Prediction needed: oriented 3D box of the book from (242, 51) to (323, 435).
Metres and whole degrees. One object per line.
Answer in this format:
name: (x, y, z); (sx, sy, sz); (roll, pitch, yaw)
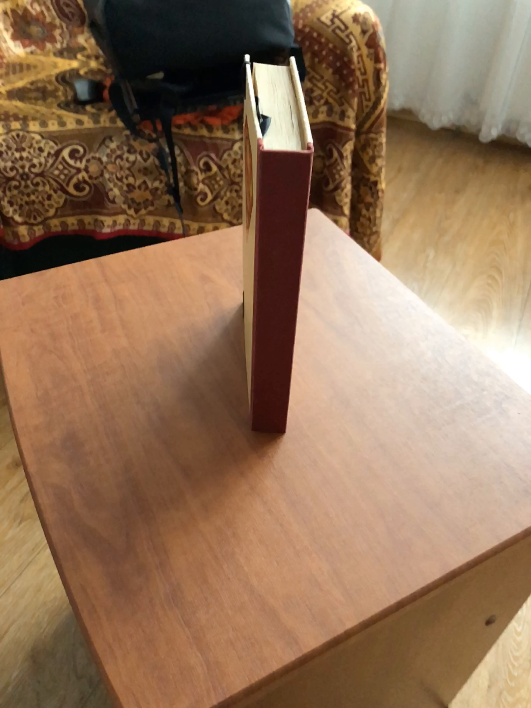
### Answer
book: (0.003, -0.072, 0.408); (0.032, 0.212, 0.155); (0, 43, -4)
